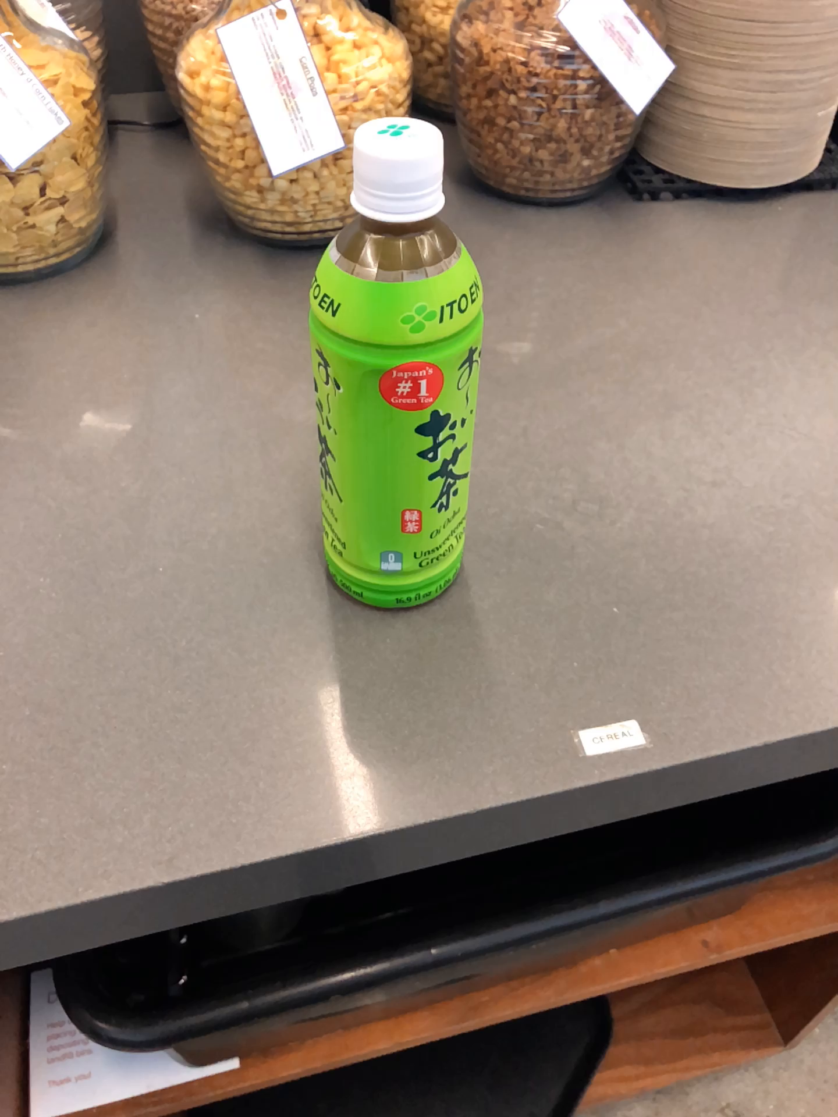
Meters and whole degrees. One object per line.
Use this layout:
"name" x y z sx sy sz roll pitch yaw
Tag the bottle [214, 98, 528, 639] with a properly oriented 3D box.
"bottle" -0.015 -0.067 0.377 0.080 0.189 0.080 1 46 -1
